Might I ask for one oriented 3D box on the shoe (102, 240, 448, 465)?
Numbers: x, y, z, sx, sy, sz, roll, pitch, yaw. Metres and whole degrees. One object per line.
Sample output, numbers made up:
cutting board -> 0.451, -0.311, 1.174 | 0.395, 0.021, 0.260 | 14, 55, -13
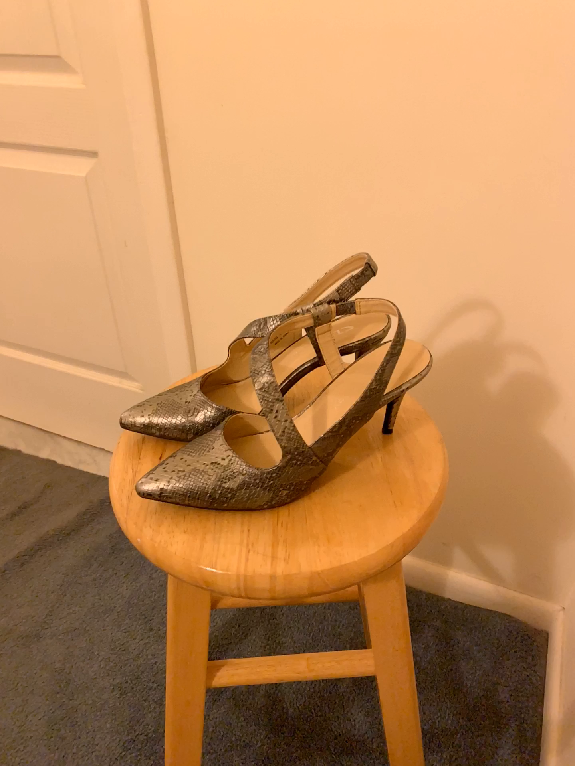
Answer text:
shoe -> -0.013, -0.033, 0.521 | 0.269, 0.125, 0.101 | -10, 35, -12

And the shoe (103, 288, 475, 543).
shoe -> 0.000, 0.015, 0.457 | 0.250, 0.106, 0.103 | -12, 35, -15
